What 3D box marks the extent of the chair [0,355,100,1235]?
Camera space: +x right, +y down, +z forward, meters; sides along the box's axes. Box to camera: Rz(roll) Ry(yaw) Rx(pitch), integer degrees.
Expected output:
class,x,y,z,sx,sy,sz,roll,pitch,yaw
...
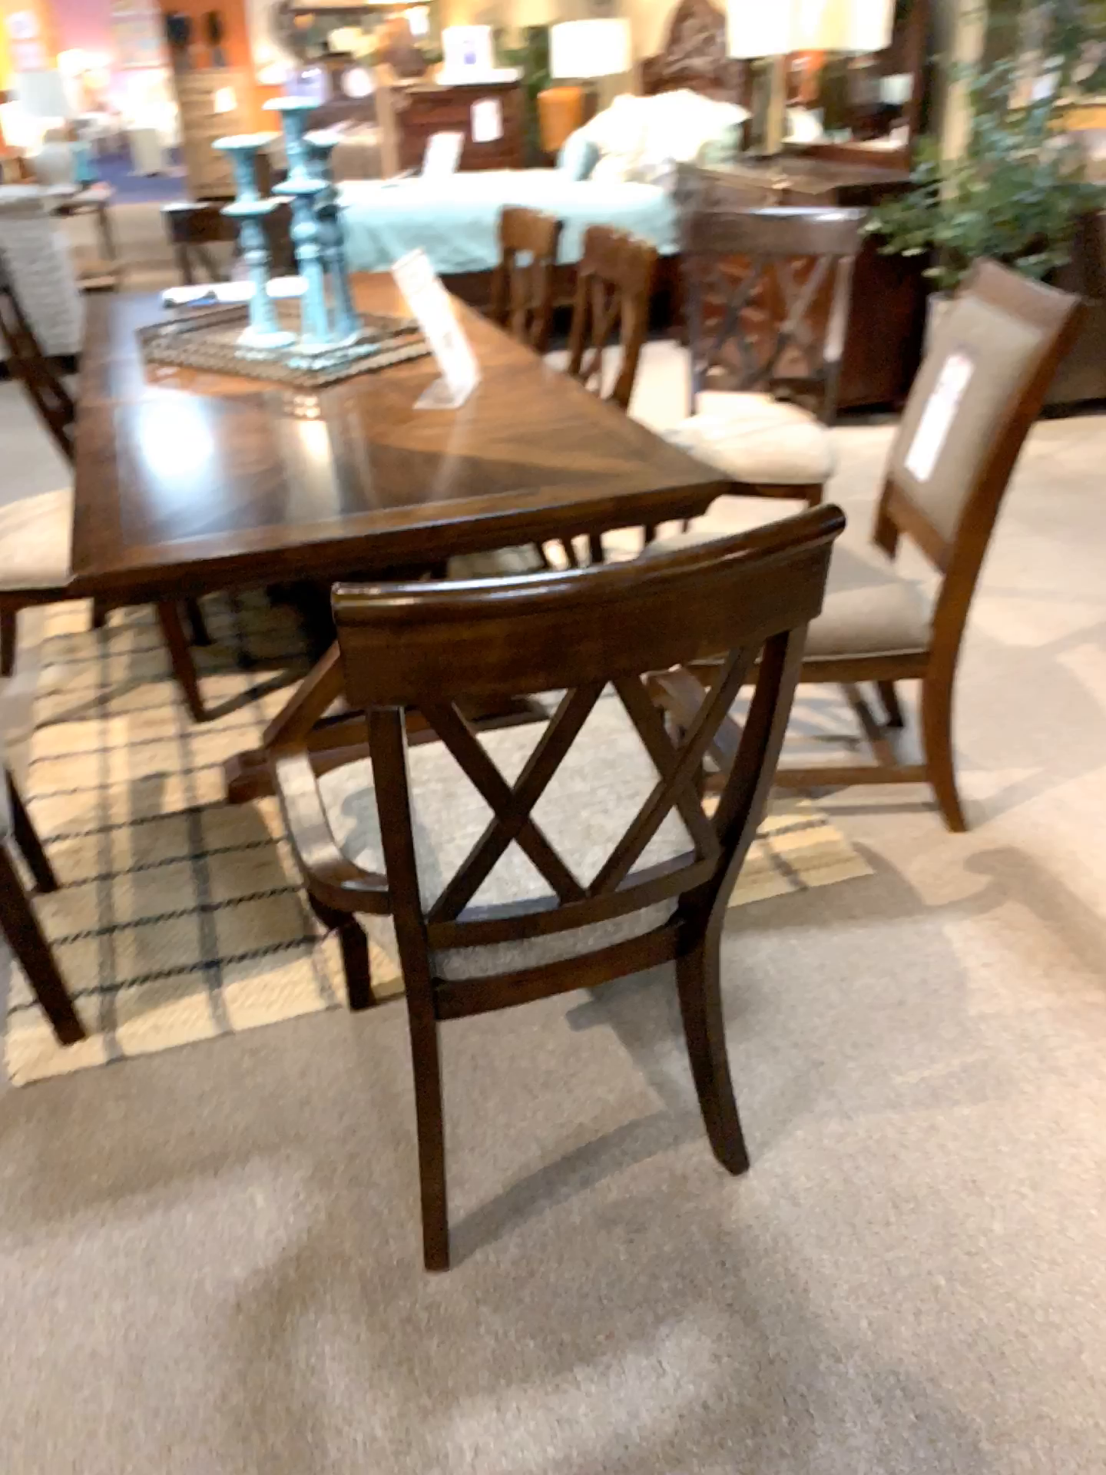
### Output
class,x,y,z,sx,sy,sz,roll,pitch,yaw
chair,-1.086,0.043,1.544,0.645,0.916,0.507,-15,32,-21

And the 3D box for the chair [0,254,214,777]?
class,x,y,z,sx,sy,sz,roll,pitch,yaw
chair,-1.150,-0.483,2.439,0.644,0.916,0.467,-11,31,-14

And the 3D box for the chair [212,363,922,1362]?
class,x,y,z,sx,sy,sz,roll,pitch,yaw
chair,-0.035,0.103,1.387,0.545,0.896,0.657,-11,31,-14

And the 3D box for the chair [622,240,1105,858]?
class,x,y,z,sx,sy,sz,roll,pitch,yaw
chair,0.480,-0.338,2.058,0.644,0.936,0.508,-4,31,-3
